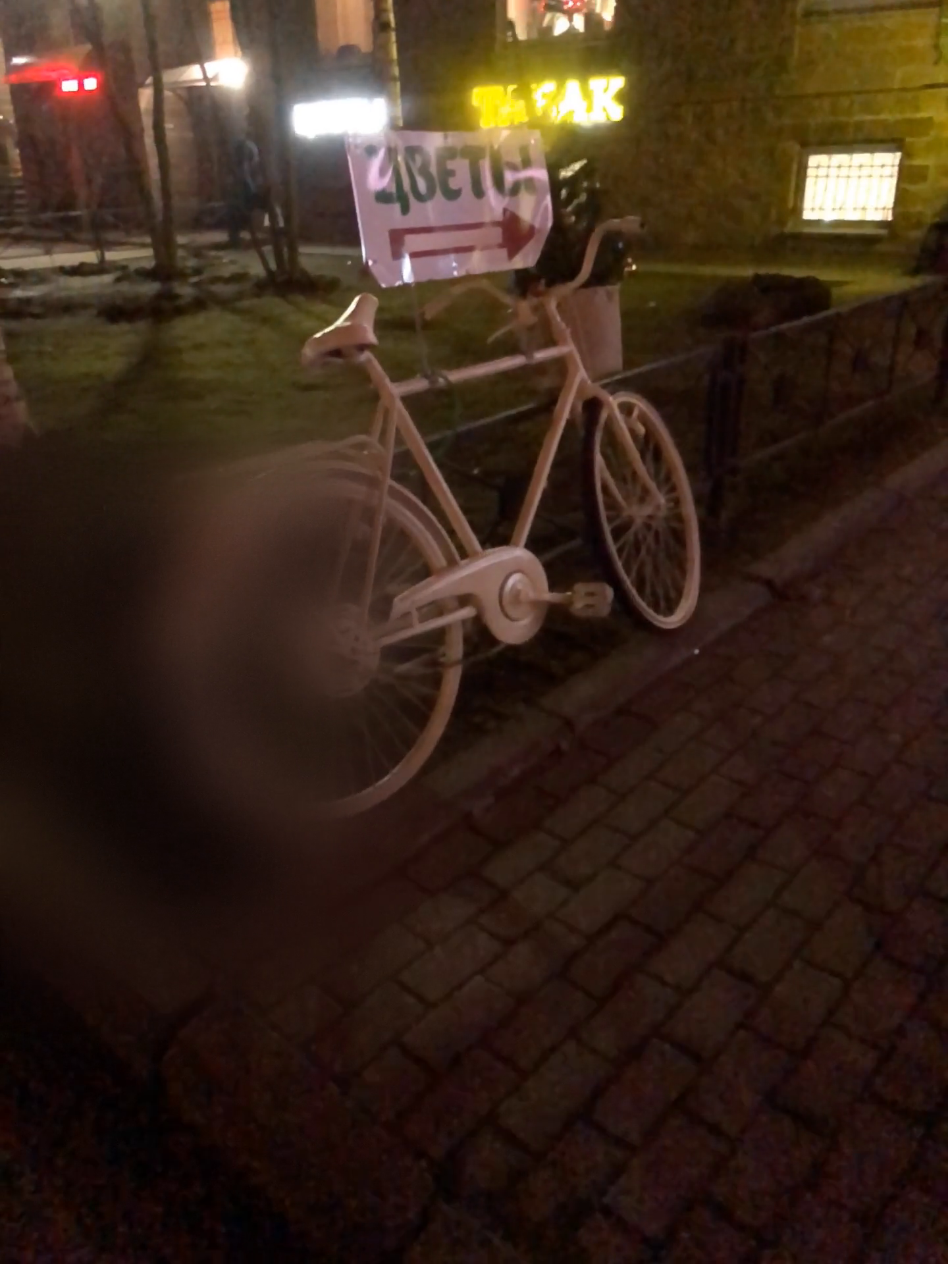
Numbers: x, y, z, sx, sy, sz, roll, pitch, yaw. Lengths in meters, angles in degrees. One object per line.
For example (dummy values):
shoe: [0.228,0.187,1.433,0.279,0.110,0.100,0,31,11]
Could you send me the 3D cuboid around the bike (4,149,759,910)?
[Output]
bike: [-0.032,-0.449,2.511,0.607,1.118,1.835,16,33,35]
